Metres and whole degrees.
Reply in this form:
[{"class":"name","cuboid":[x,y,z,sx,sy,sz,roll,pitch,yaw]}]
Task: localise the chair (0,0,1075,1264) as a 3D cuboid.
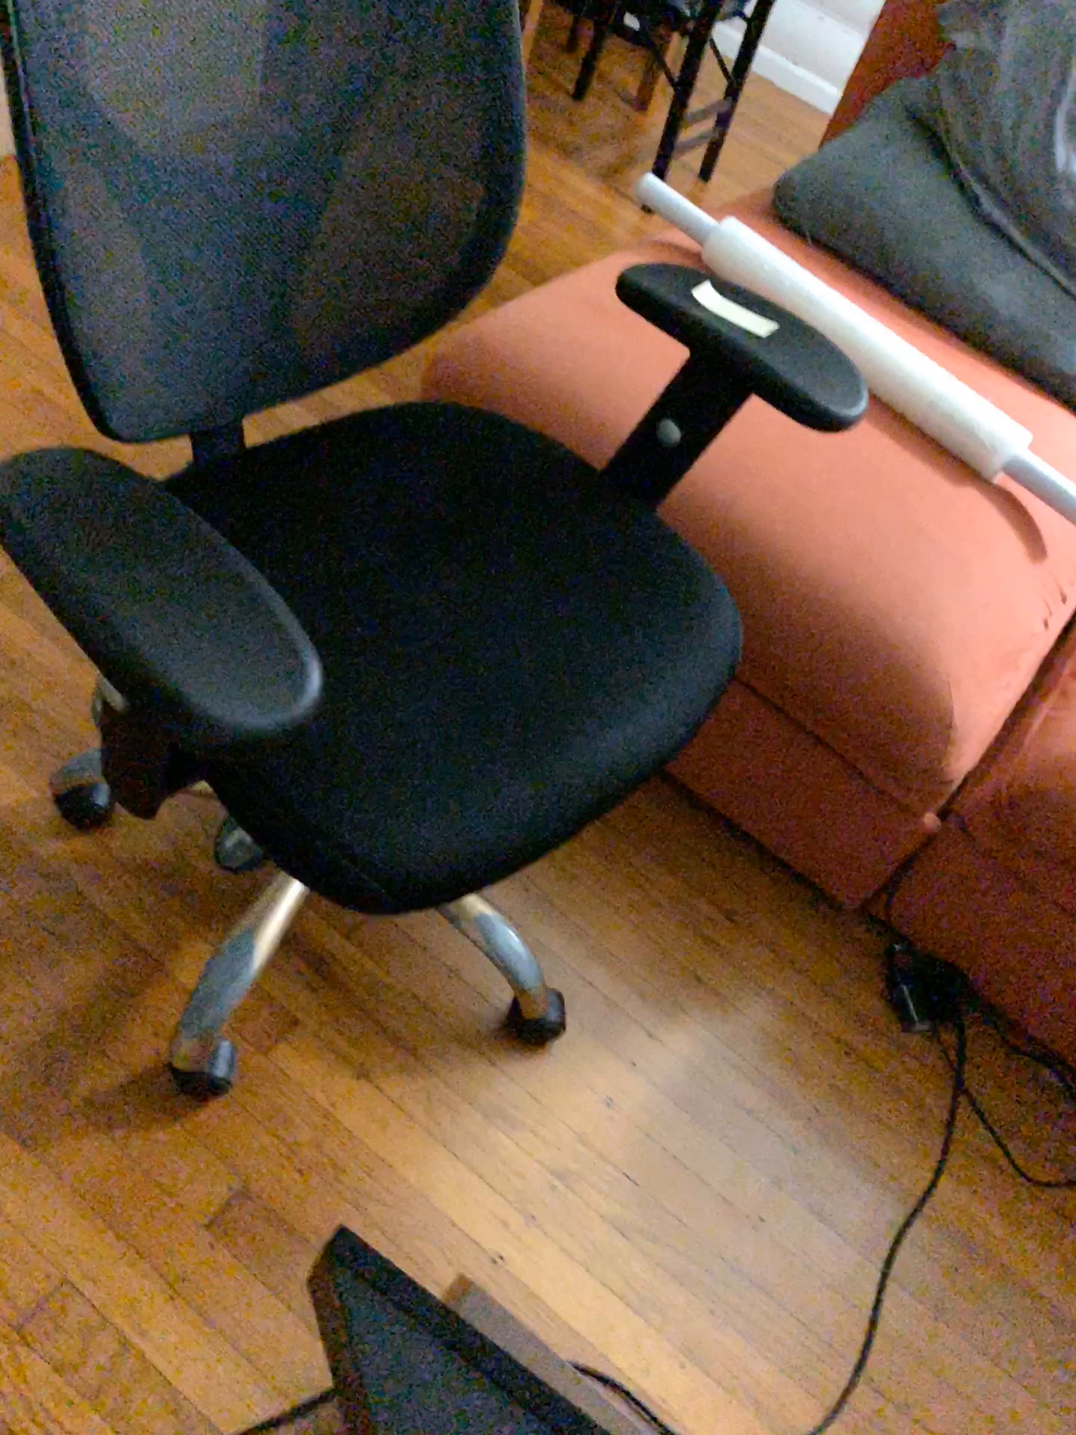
[{"class":"chair","cuboid":[-0.102,-0.186,0.935,0.661,0.975,0.642,42,50,22]}]
